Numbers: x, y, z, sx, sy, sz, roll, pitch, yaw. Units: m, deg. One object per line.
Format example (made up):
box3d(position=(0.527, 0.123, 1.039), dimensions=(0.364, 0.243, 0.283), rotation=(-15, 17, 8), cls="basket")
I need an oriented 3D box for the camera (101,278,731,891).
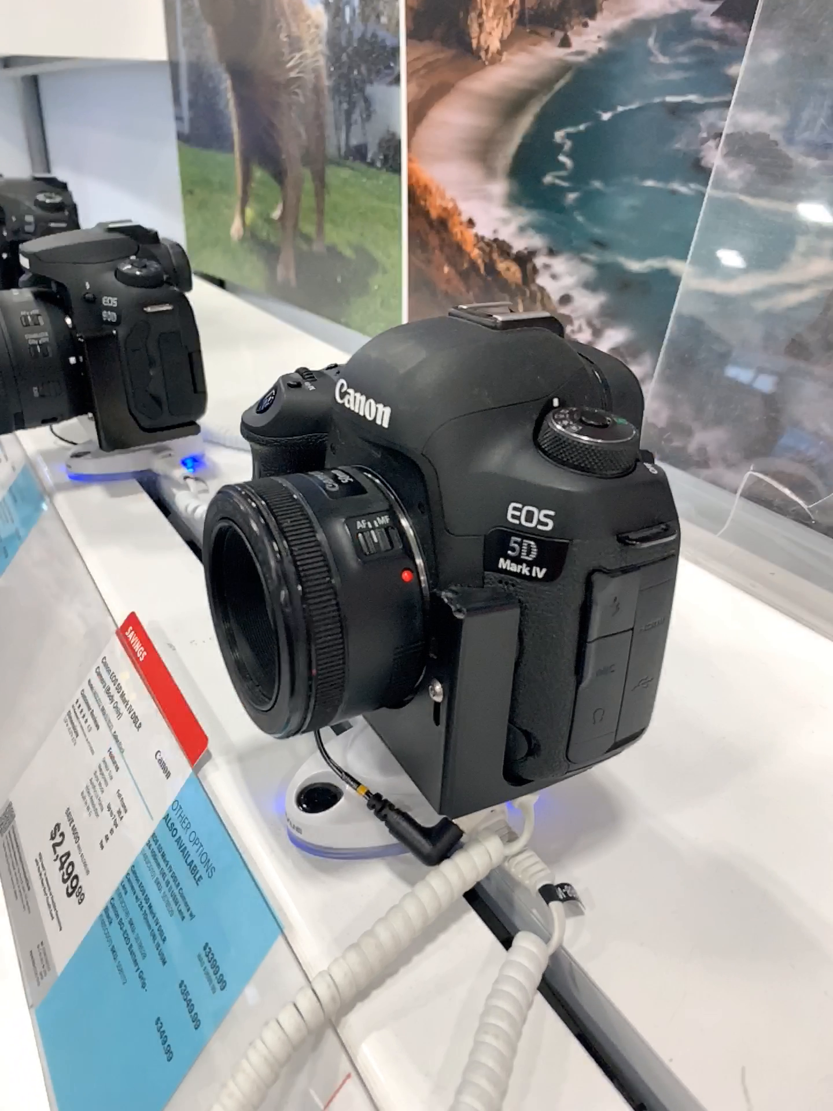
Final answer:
box3d(position=(-0.011, -0.011, 0.251), dimensions=(0.112, 0.106, 0.141), rotation=(-14, 30, -26), cls="camera")
